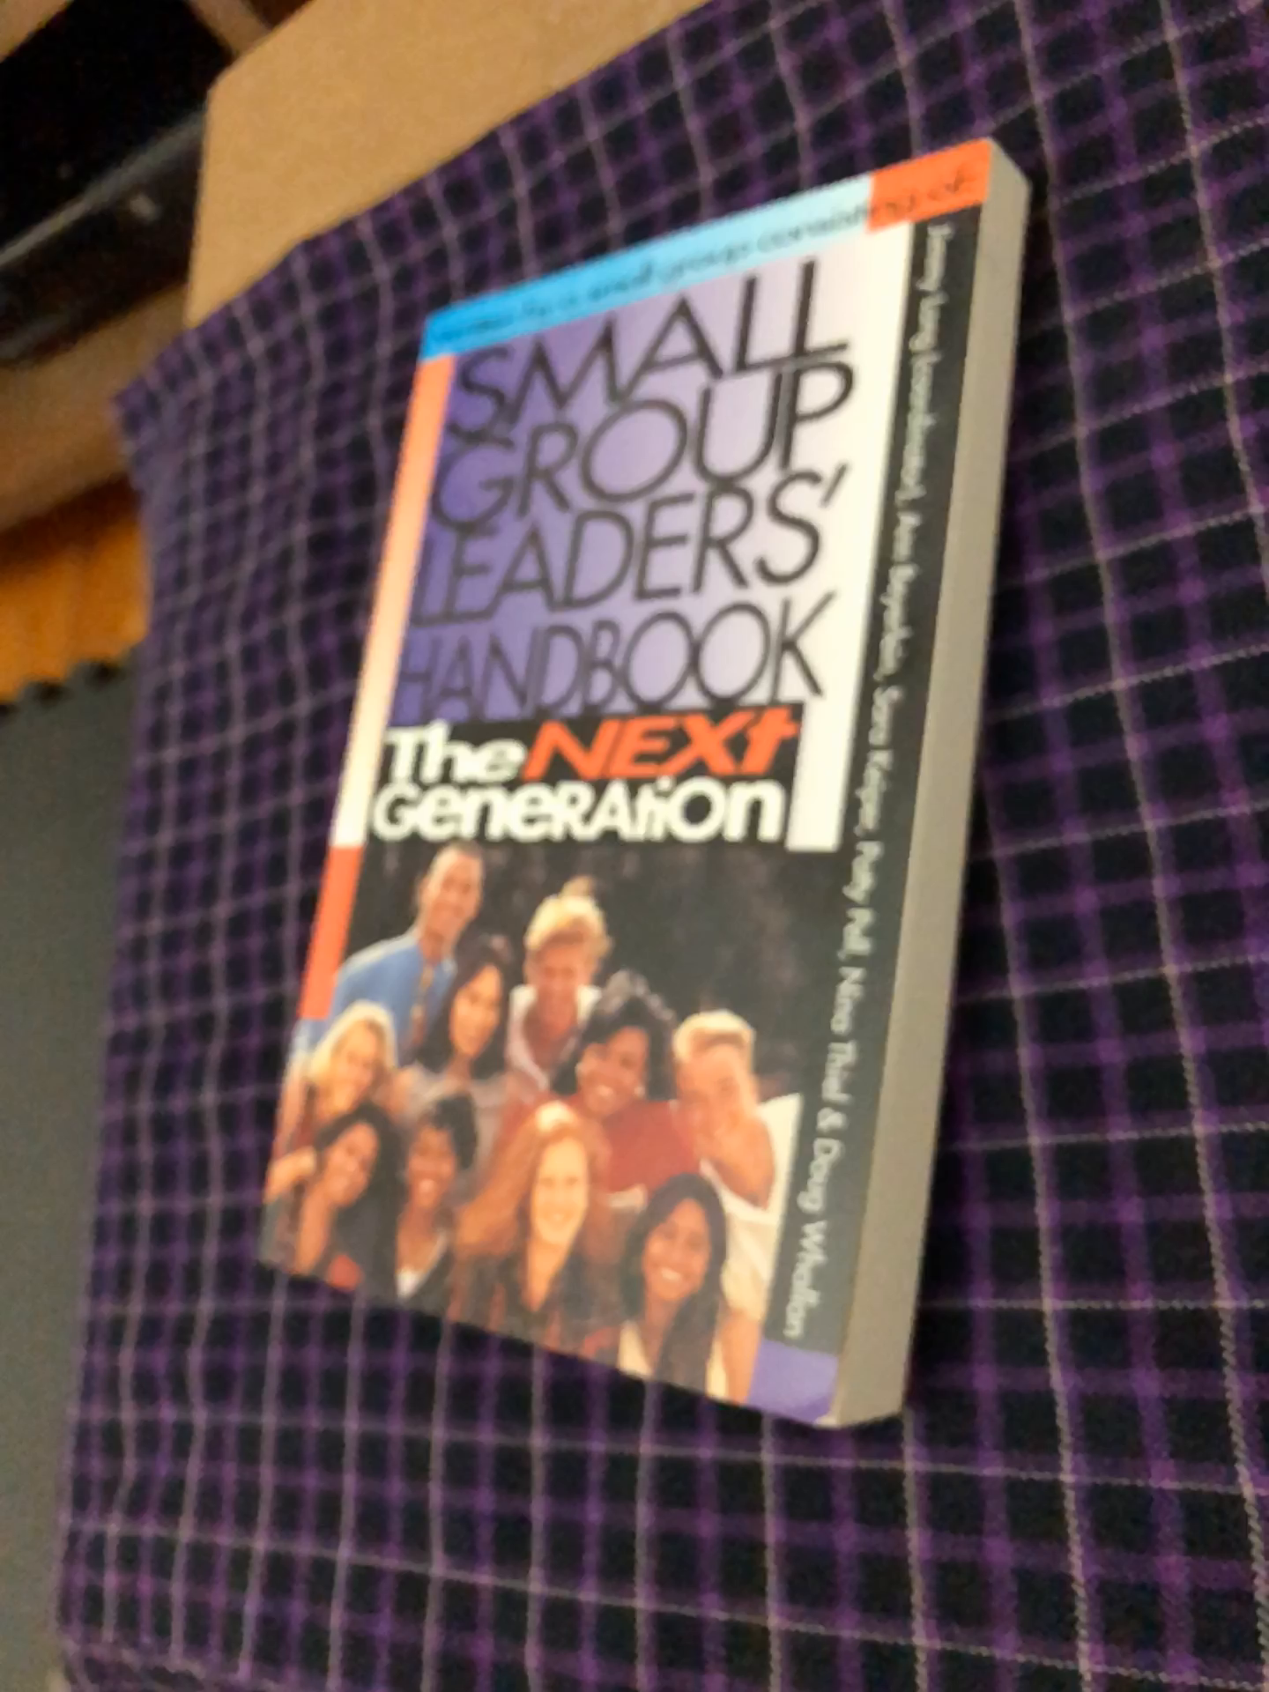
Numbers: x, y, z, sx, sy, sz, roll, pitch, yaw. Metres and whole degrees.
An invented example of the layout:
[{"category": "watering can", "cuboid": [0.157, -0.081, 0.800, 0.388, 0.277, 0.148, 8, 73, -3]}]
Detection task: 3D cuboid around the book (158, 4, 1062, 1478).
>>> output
[{"category": "book", "cuboid": [-0.009, -0.022, 0.266, 0.151, 0.030, 0.220, 0, 76, 38]}]
